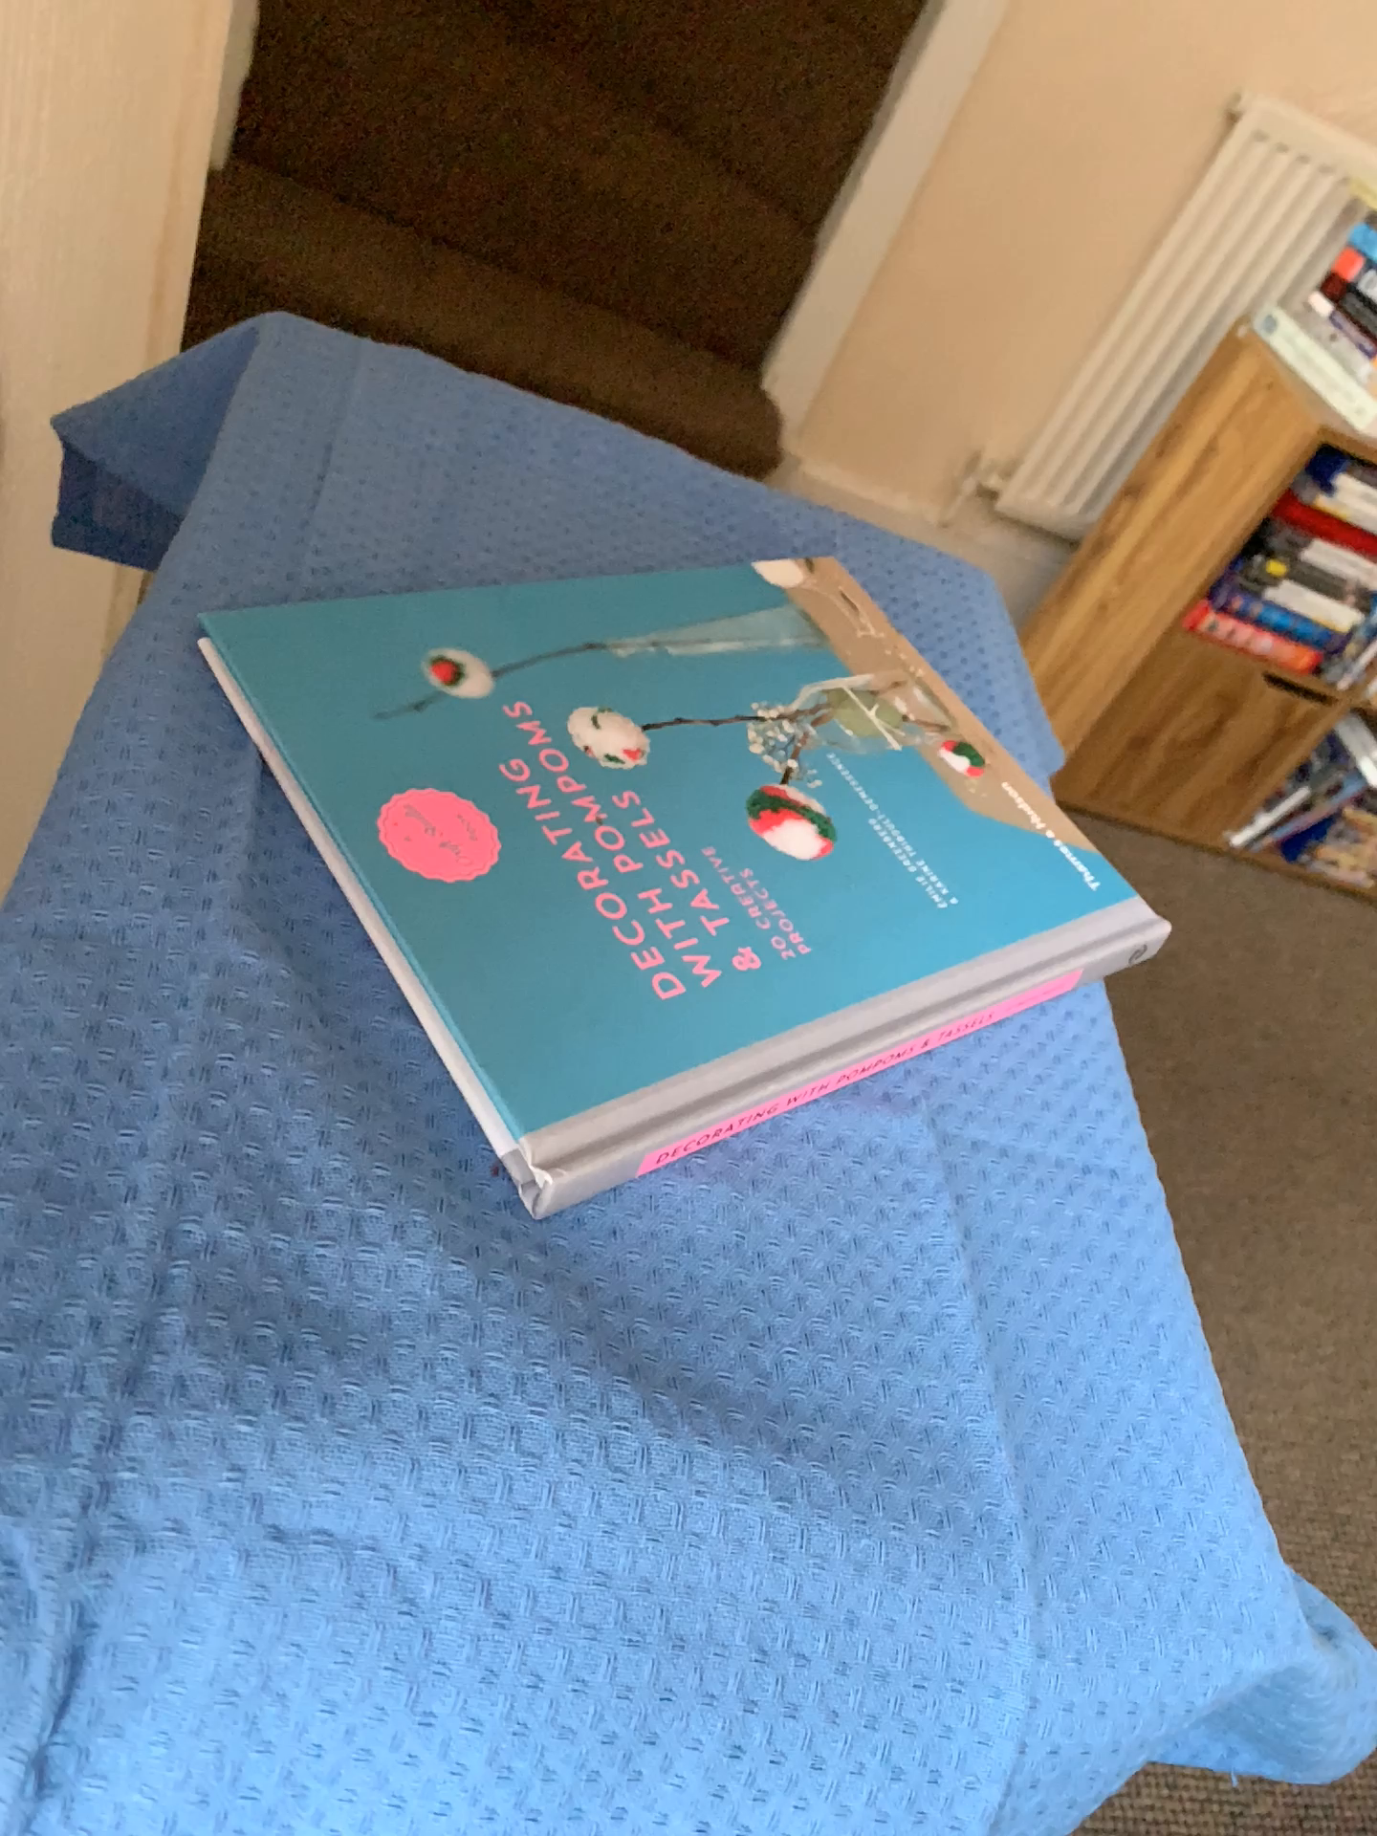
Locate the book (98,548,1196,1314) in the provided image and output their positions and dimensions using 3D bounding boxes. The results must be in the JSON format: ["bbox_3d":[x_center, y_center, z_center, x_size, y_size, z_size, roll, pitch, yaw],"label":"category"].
[{"bbox_3d":[0.002,-0.027,0.392,0.251,0.020,0.191,-18,59,-39],"label":"book"}]
